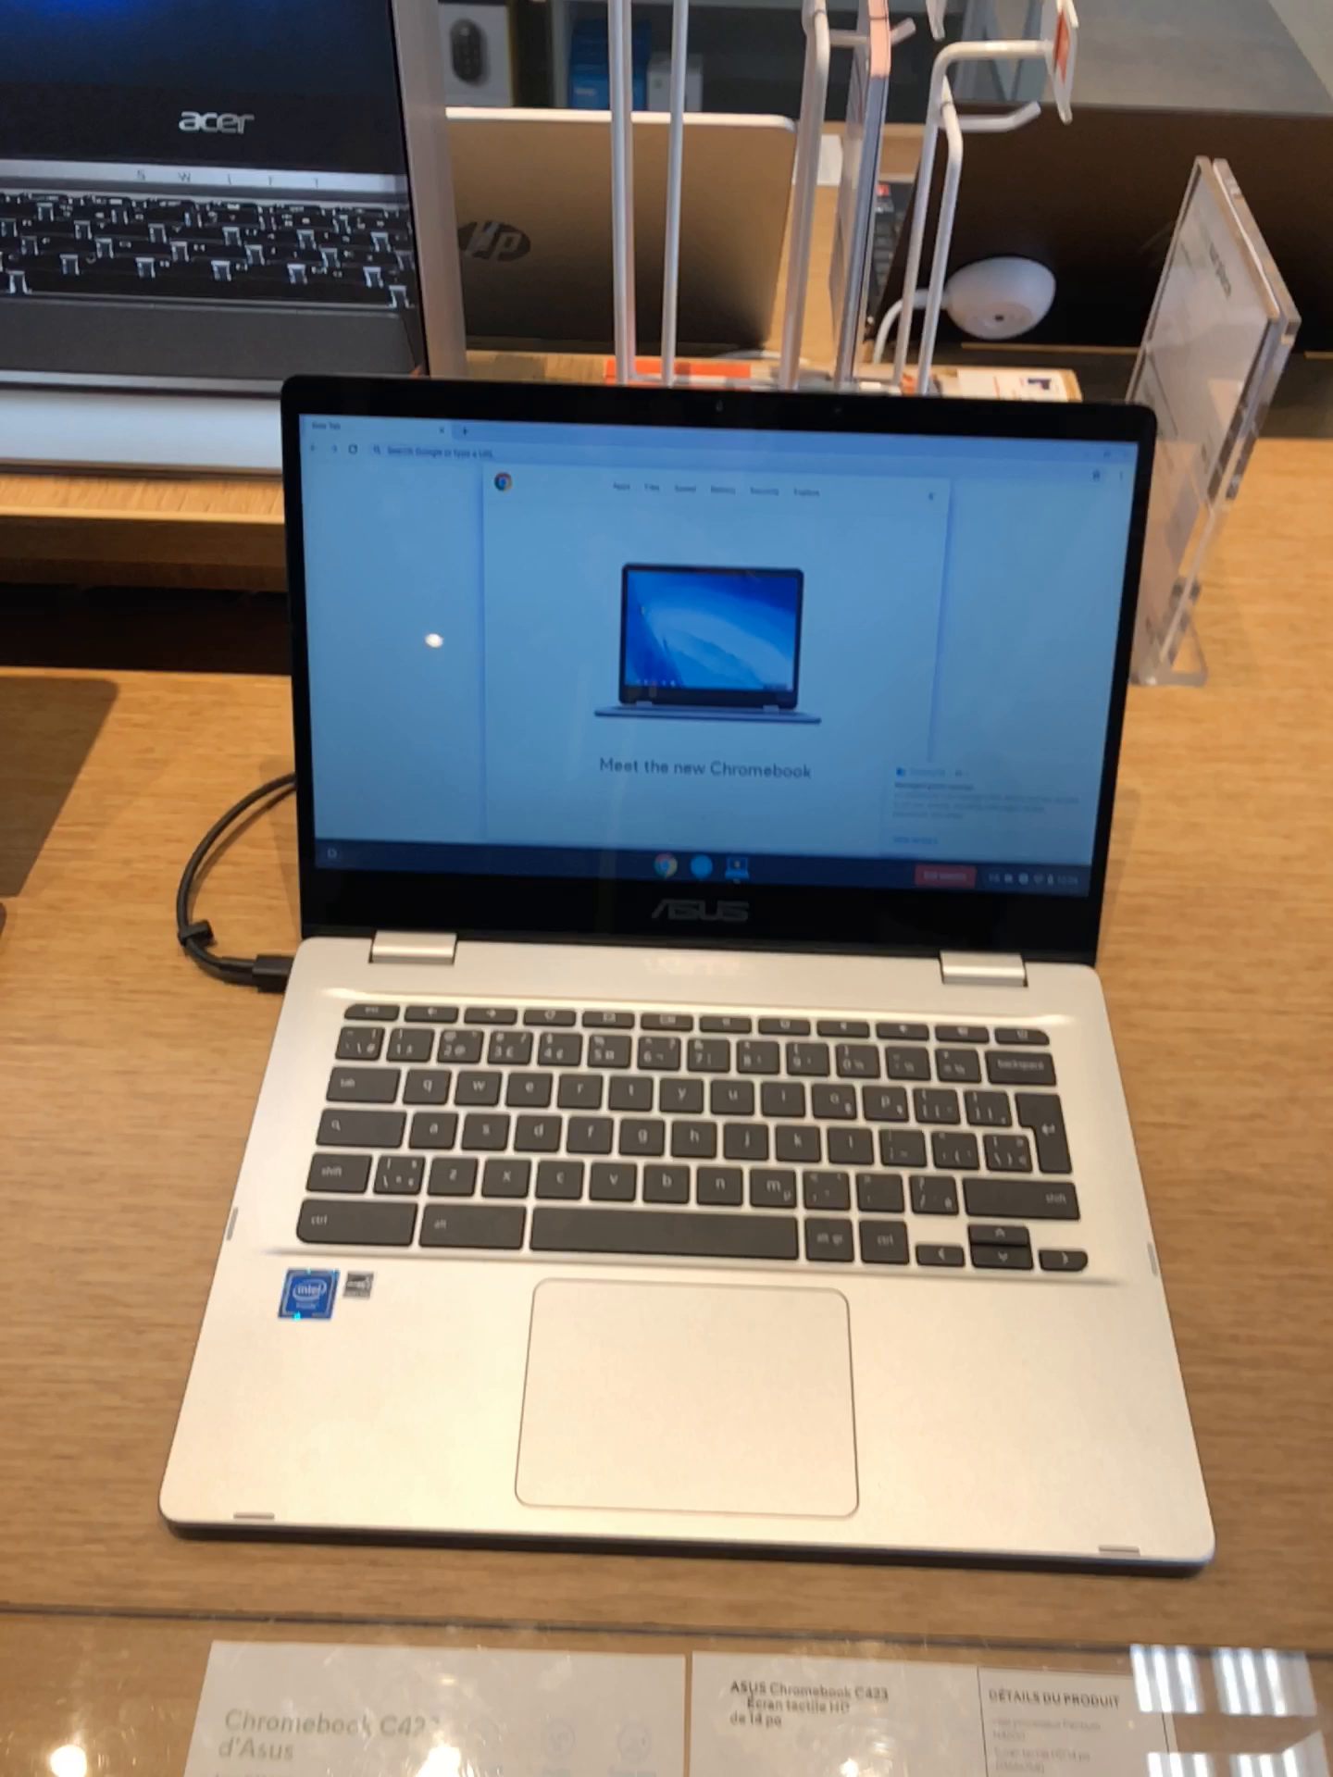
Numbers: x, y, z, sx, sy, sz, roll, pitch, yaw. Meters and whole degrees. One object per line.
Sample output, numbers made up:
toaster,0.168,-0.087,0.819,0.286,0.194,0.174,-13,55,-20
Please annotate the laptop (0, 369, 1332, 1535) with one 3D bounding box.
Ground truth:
laptop,-0.009,0.006,0.482,0.281,0.186,0.337,1,47,-3
